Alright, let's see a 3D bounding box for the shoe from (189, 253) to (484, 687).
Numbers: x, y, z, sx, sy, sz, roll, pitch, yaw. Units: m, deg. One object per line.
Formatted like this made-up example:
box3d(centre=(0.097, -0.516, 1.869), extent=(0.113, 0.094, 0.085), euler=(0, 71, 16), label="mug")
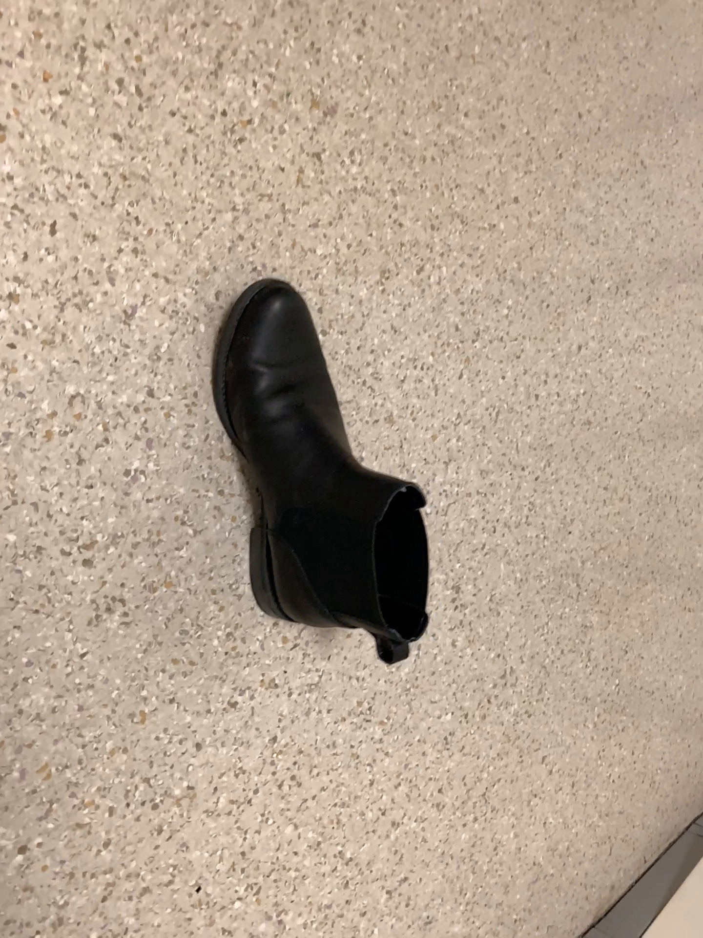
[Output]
box3d(centre=(-0.011, -0.005, 0.529), extent=(0.108, 0.146, 0.270), euler=(-16, 102, -40), label="shoe")
